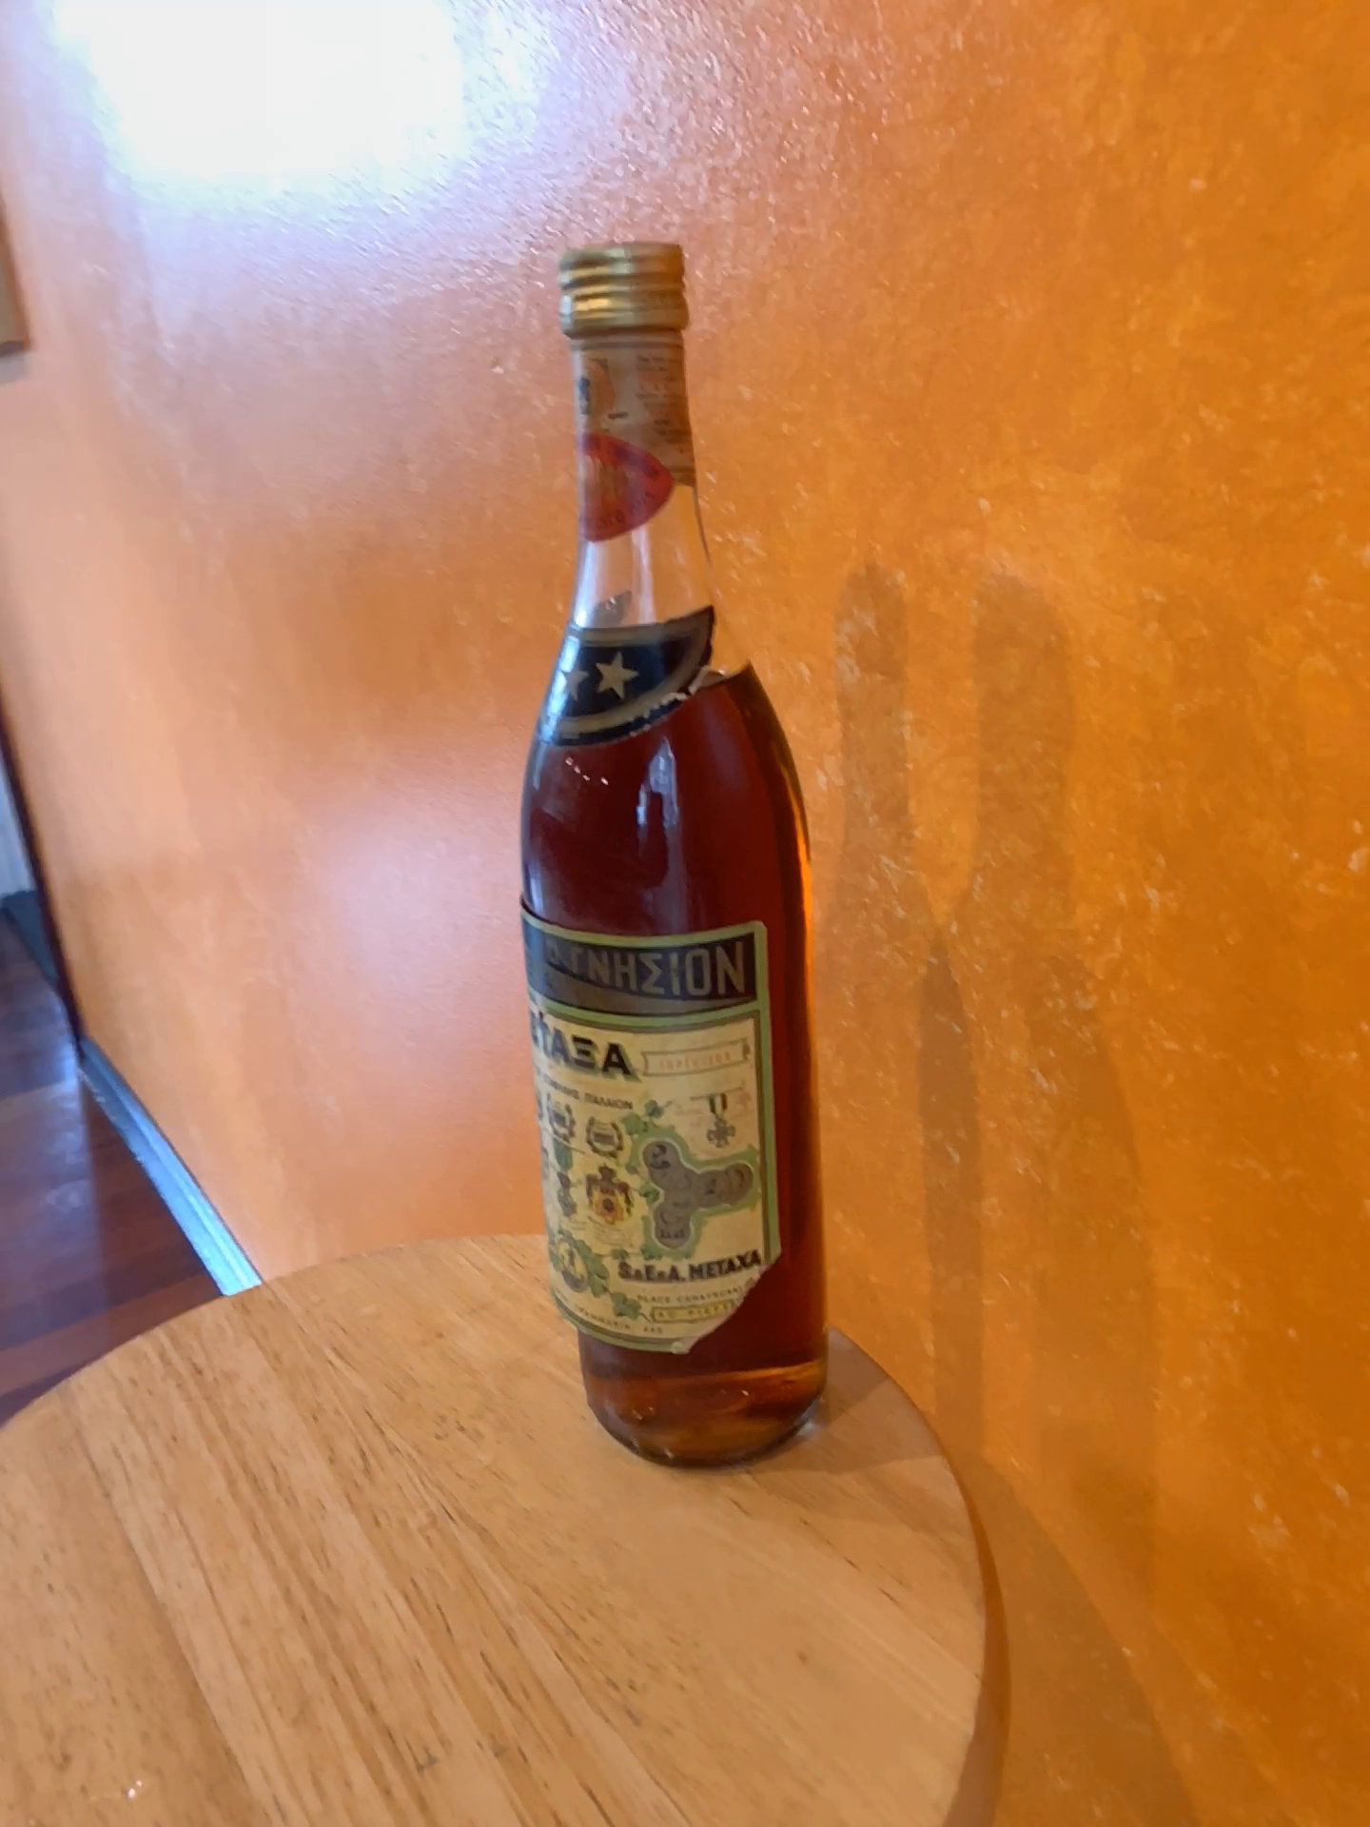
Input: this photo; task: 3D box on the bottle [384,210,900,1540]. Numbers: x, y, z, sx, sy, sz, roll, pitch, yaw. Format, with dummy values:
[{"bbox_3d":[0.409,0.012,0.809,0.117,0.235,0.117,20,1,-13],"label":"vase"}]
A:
[{"bbox_3d":[-0.004,-0.002,0.347,0.070,0.299,0.080,-17,24,-29],"label":"bottle"}]
